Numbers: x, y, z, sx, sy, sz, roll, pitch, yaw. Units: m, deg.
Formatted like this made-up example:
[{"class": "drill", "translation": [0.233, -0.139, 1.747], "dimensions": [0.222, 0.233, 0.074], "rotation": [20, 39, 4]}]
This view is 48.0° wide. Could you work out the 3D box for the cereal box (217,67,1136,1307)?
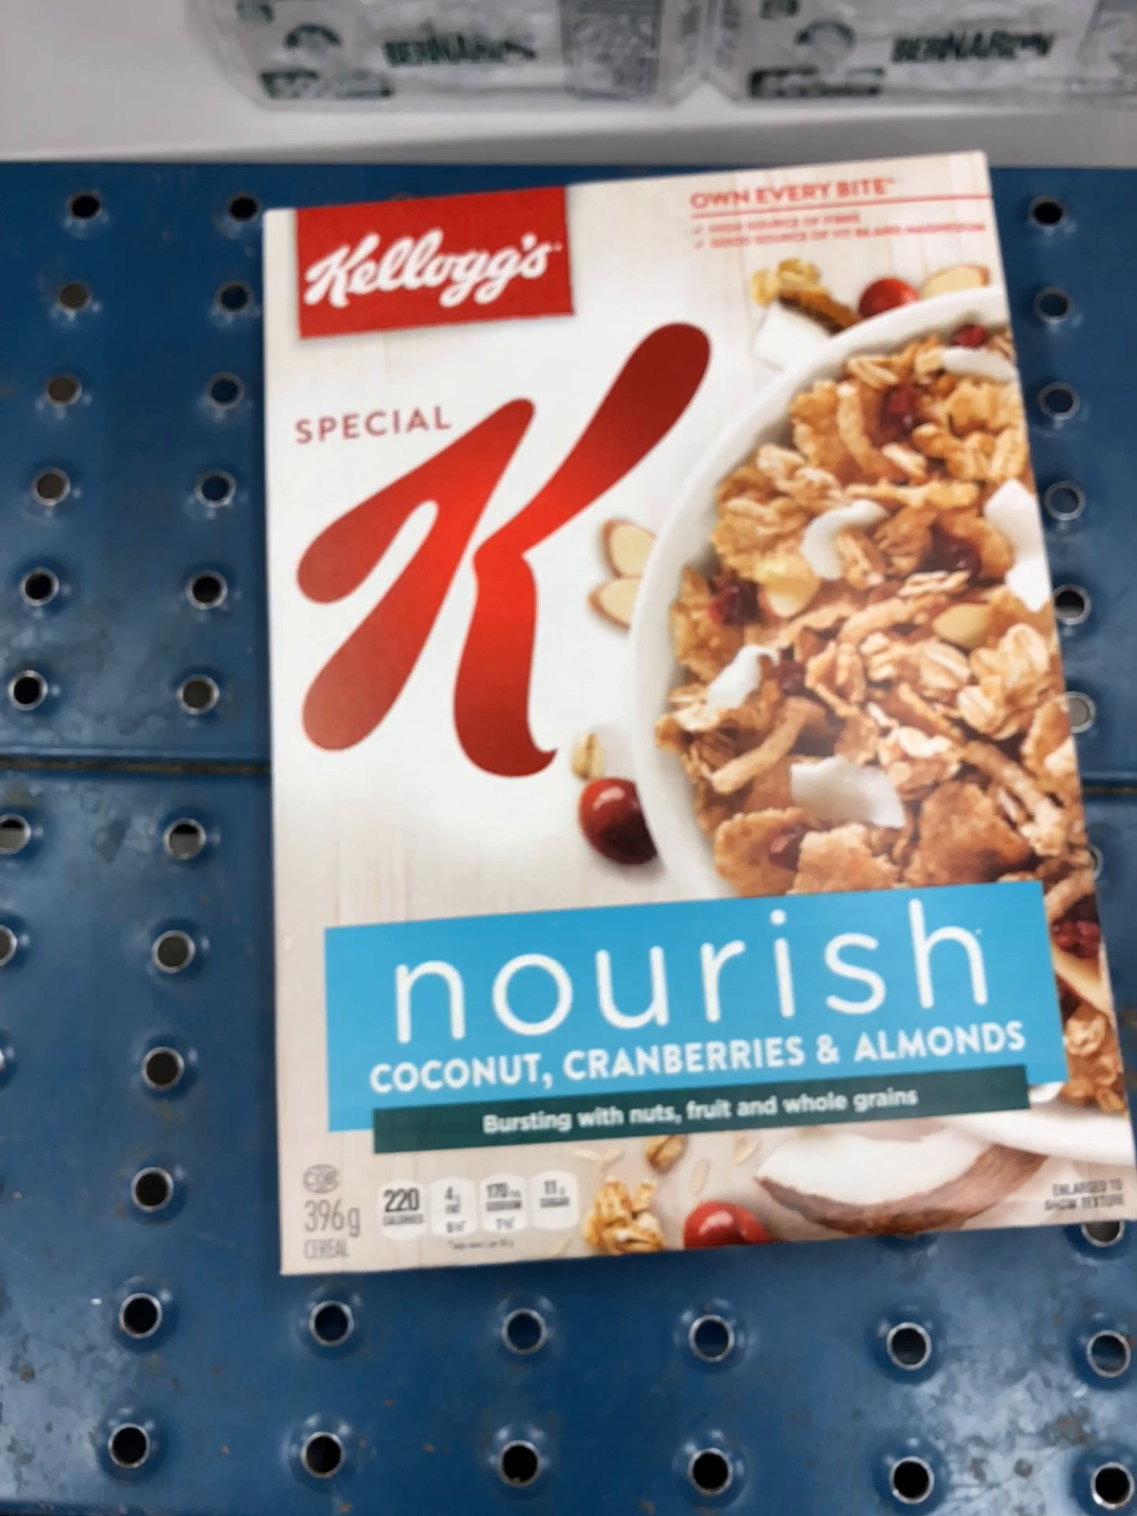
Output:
[{"class": "cereal box", "translation": [0.024, -0.025, 0.332], "dimensions": [0.210, 0.050, 0.290], "rotation": [-5, 79, 1]}]
